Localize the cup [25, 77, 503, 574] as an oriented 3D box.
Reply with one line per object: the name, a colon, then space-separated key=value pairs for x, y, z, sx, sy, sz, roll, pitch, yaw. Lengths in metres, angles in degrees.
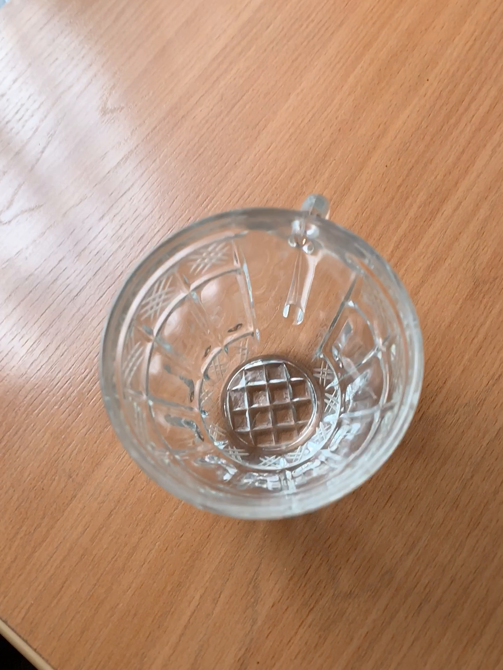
cup: x=0.008 y=-0.002 z=0.156 sx=0.082 sy=0.066 sz=0.101 roll=22 pitch=75 yaw=9
